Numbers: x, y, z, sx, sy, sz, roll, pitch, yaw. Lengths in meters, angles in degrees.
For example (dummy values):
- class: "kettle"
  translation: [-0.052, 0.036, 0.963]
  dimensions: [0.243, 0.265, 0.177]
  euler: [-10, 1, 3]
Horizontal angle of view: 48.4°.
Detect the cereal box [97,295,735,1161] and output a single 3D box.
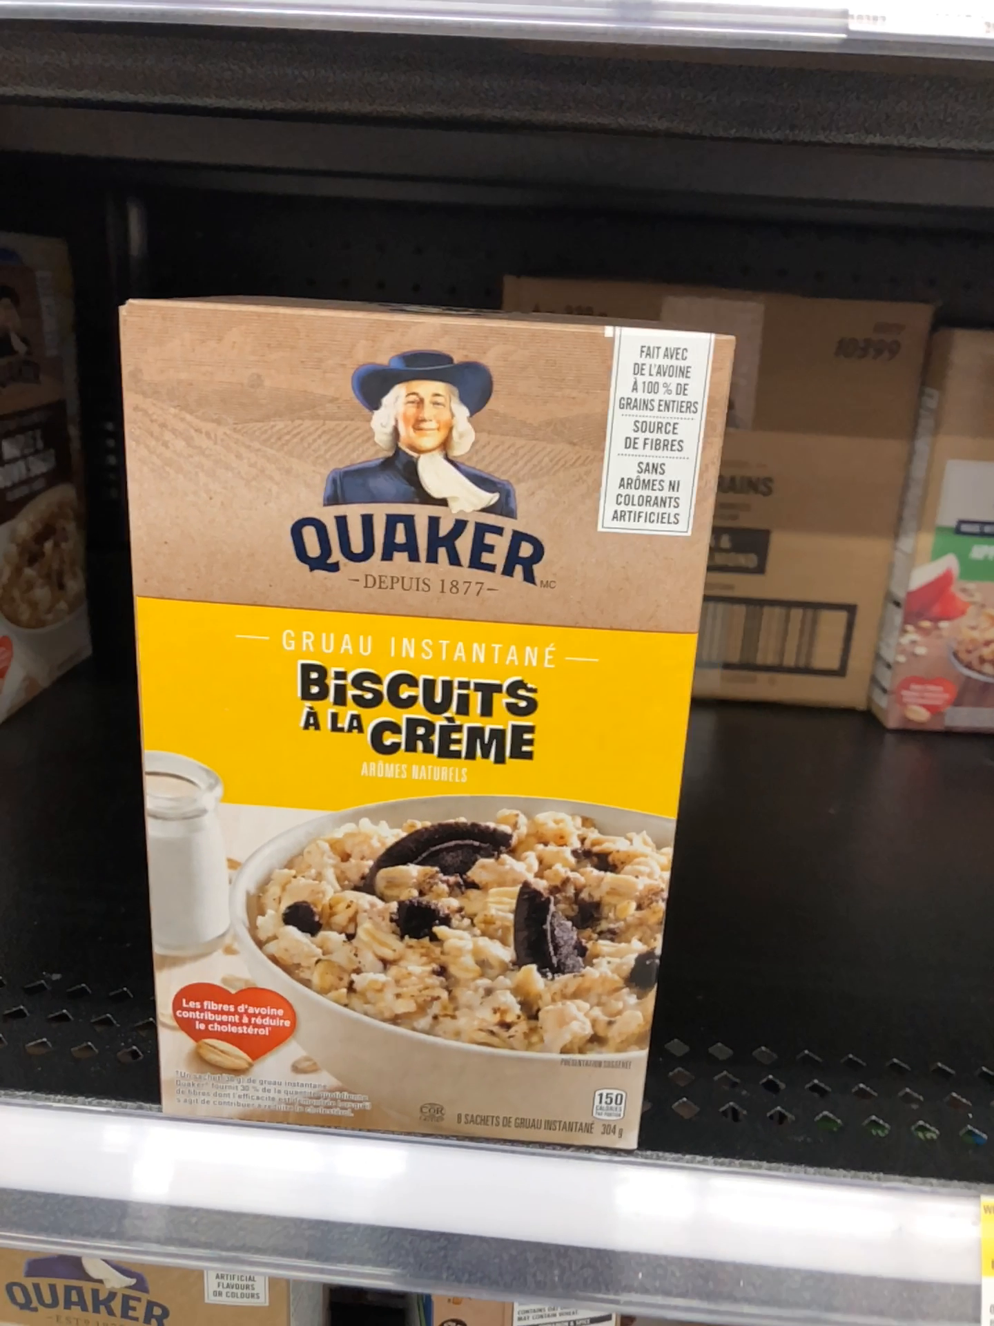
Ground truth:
- class: "cereal box"
  translation: [-0.019, 0.012, 0.275]
  dimensions: [0.120, 0.189, 0.080]
  euler: [4, 19, 2]
